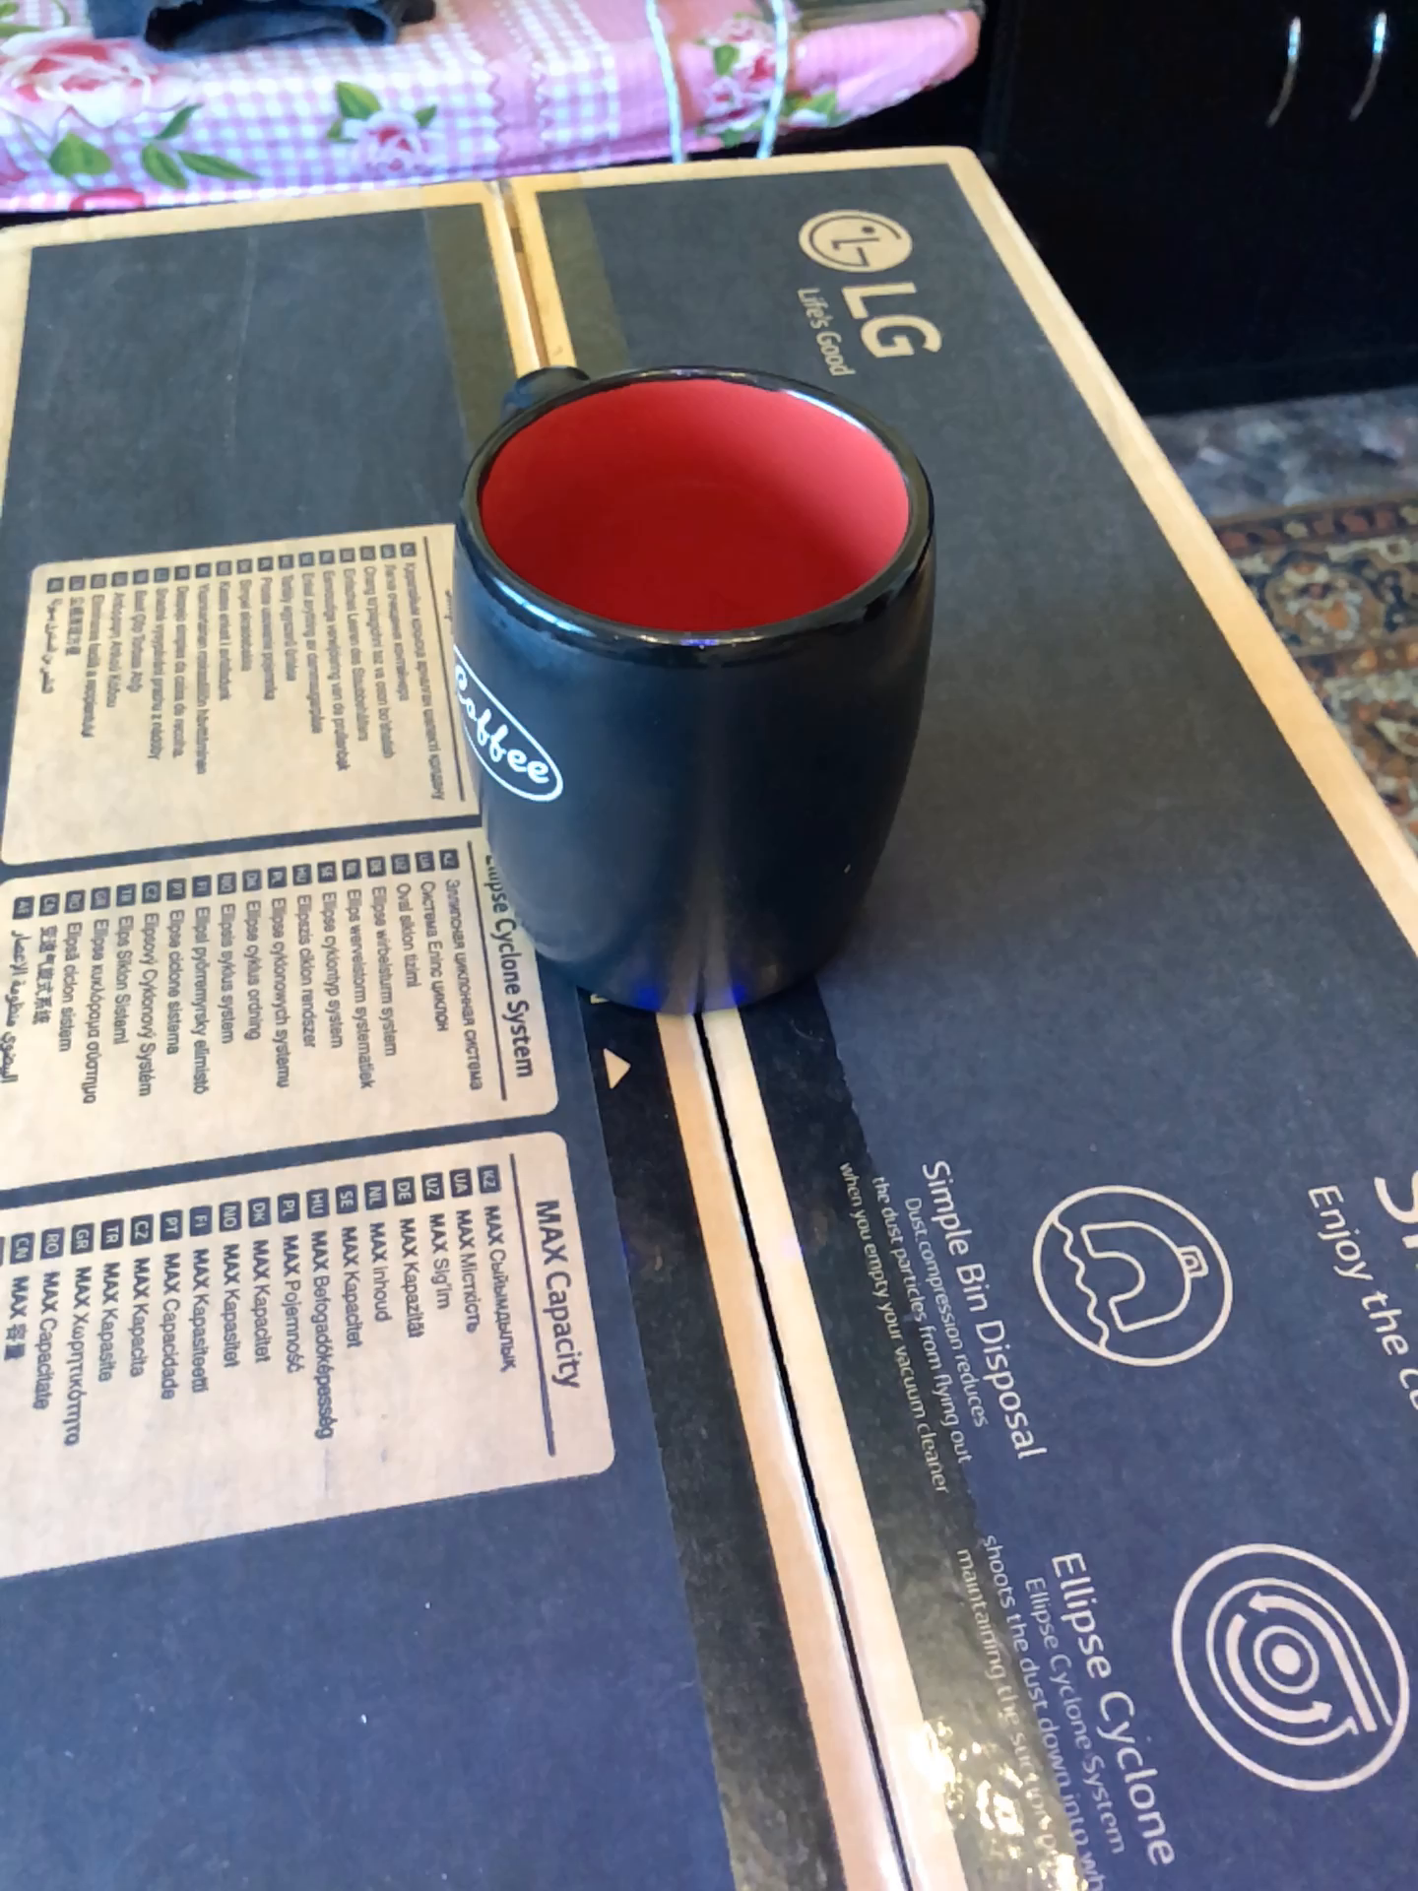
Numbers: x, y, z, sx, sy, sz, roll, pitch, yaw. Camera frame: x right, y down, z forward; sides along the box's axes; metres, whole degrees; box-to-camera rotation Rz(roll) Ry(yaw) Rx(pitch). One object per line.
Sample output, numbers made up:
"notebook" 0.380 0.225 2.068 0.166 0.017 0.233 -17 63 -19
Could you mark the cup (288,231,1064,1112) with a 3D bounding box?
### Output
"cup" -0.011 -0.055 0.300 0.090 0.090 0.120 -20 55 -14
